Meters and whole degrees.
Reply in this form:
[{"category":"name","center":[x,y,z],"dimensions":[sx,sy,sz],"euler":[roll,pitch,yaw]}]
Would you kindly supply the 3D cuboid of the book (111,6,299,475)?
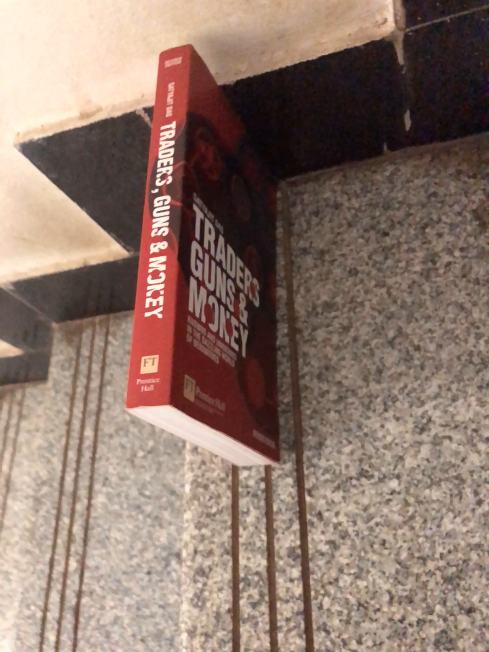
[{"category":"book","center":[-0.008,-0.042,0.324],"dimensions":[0.030,0.149,0.230],"euler":[-9,64,22]}]
